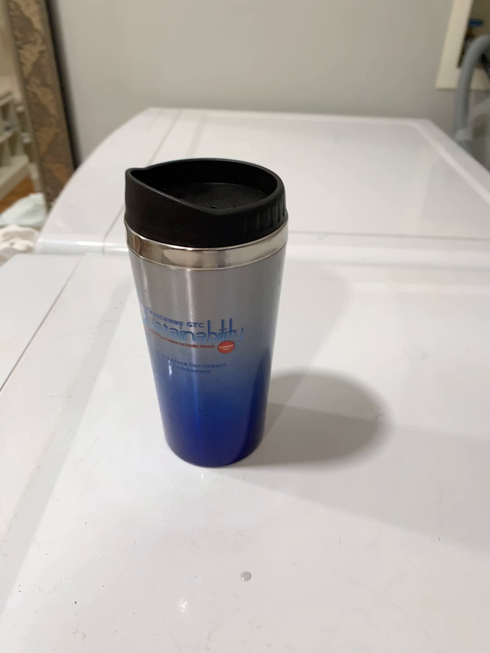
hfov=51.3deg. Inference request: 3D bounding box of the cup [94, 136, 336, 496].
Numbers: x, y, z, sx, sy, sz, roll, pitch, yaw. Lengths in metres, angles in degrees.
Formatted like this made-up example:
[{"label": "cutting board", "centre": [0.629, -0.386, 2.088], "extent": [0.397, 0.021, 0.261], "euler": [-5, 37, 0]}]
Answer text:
[{"label": "cup", "centre": [-0.019, -0.006, 0.288], "extent": [0.090, 0.171, 0.080], "euler": [-15, 38, -23]}]
